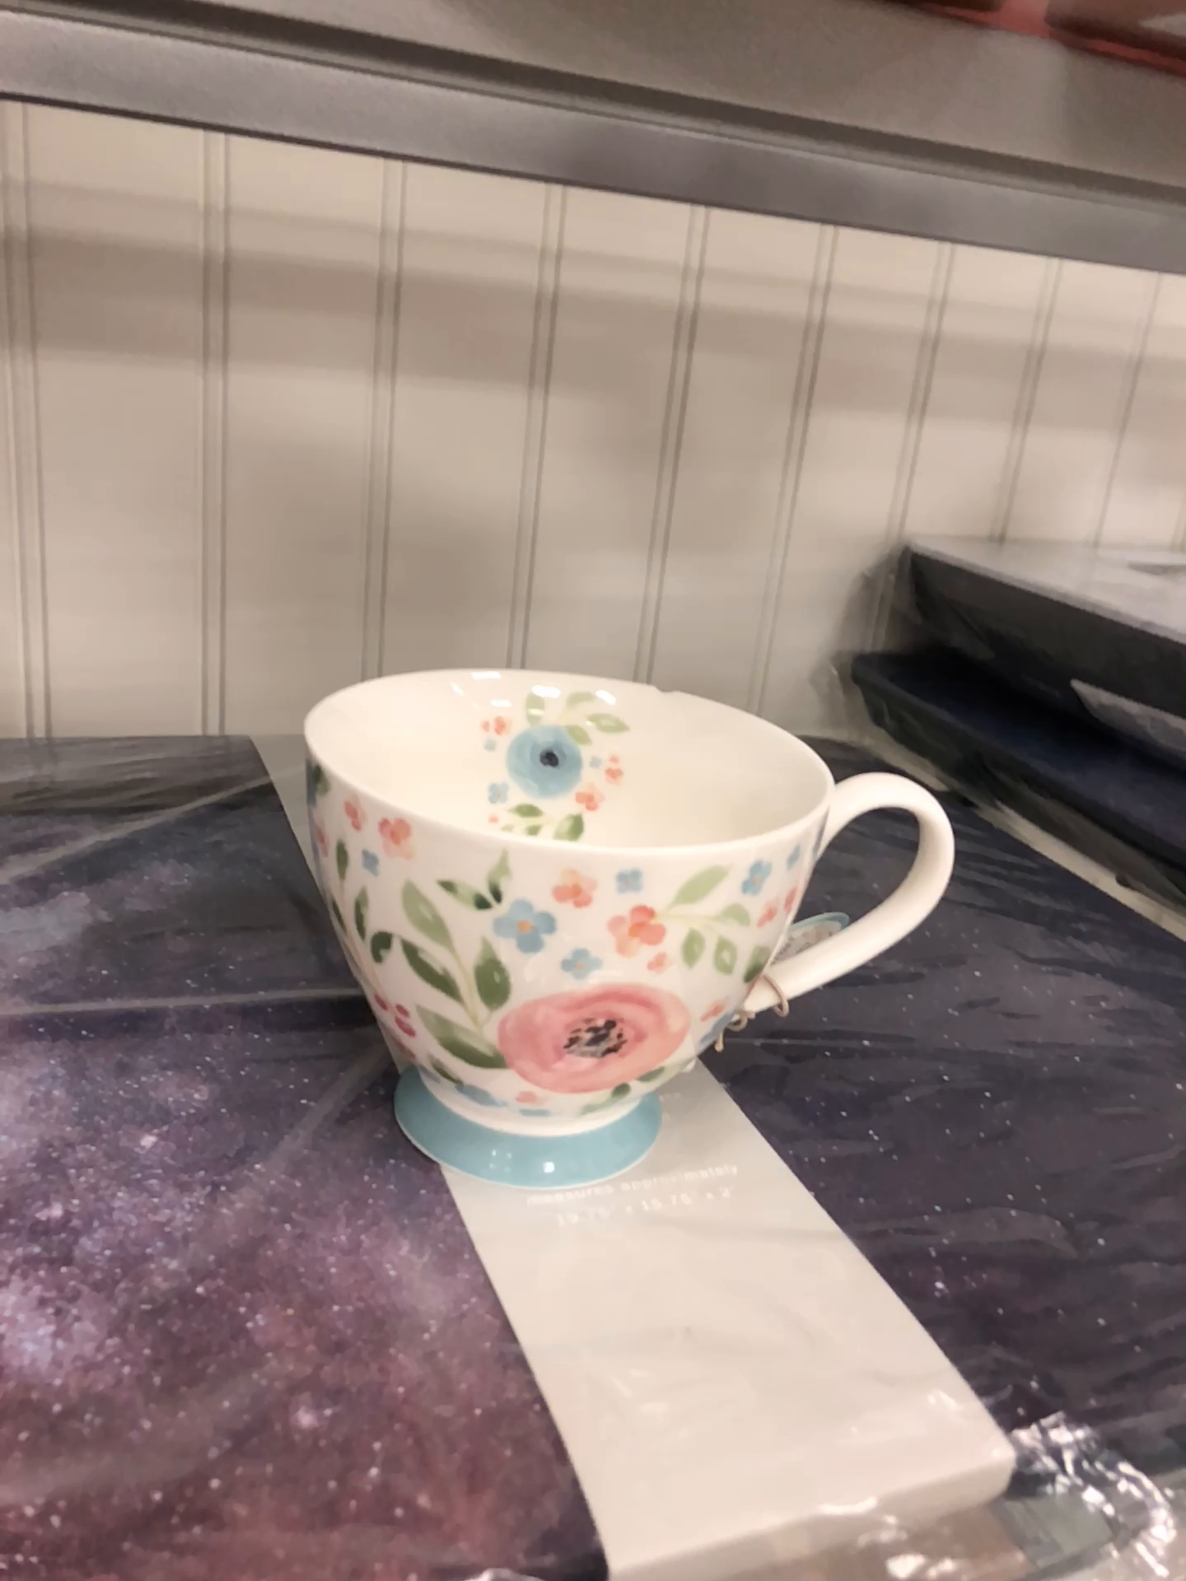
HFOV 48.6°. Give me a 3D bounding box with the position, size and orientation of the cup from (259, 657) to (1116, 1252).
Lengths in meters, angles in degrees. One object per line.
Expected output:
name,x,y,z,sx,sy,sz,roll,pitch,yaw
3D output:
cup,0.008,0.029,0.289,0.150,0.079,0.111,2,21,-11
